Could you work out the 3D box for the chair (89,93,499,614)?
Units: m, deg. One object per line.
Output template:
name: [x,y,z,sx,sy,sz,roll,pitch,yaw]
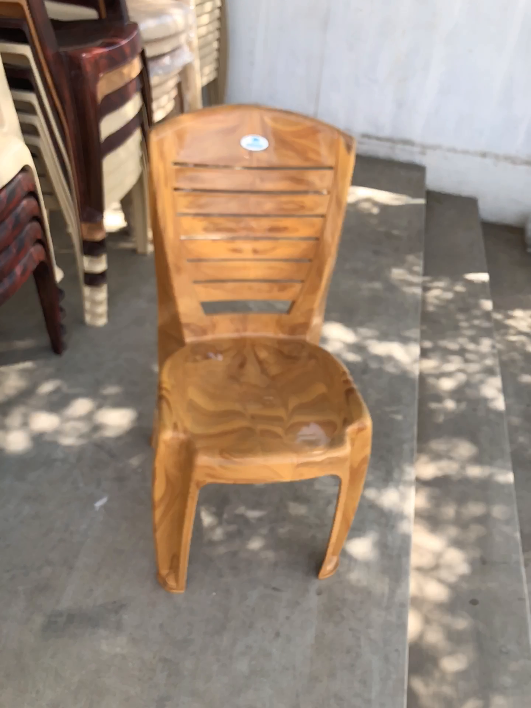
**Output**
chair: [-0.032,0.004,1.169,0.500,0.815,0.563,-3,40,-11]
